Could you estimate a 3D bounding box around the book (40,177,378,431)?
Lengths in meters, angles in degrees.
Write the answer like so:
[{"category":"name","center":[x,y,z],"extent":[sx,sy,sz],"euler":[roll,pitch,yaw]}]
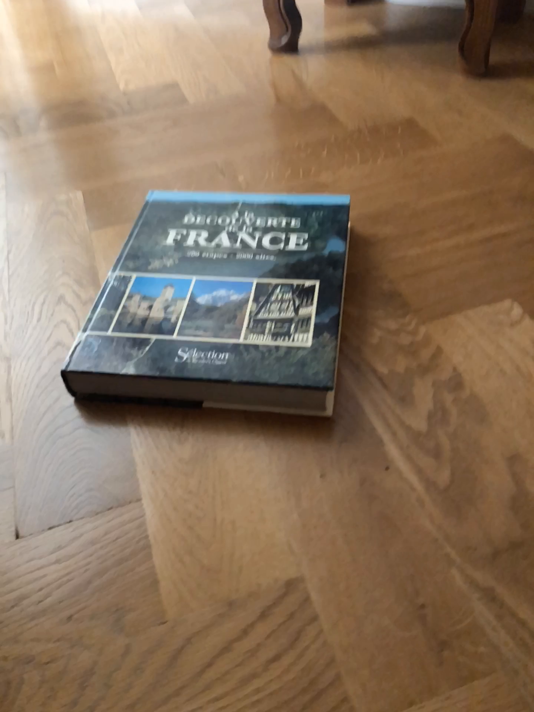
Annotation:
[{"category":"book","center":[-0.029,-0.070,0.547],"extent":[0.250,0.040,0.292],"euler":[4,47,9]}]
